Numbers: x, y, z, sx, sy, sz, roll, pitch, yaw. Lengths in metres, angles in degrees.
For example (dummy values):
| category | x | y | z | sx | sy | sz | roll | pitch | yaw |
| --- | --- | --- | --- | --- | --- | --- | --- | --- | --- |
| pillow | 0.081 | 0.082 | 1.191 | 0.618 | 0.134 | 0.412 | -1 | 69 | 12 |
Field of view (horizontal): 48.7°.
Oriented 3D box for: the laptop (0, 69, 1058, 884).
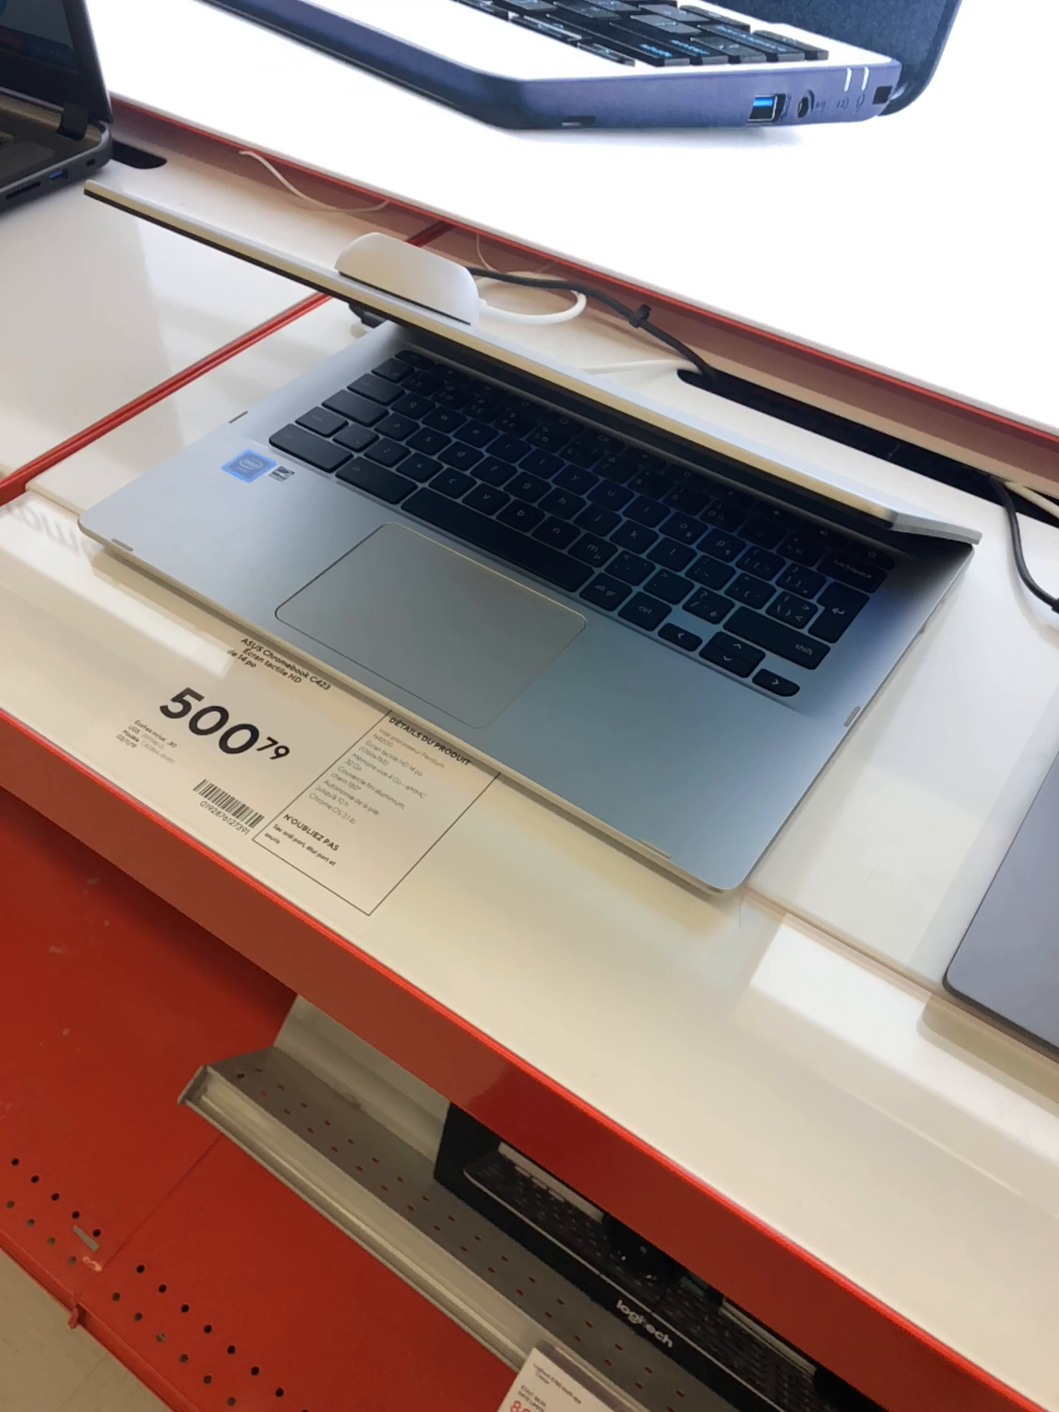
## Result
| category | x | y | z | sx | sy | sz | roll | pitch | yaw |
| --- | --- | --- | --- | --- | --- | --- | --- | --- | --- |
| laptop | 0.001 | -0.115 | 0.458 | 0.312 | 0.119 | 0.213 | 28 | 53 | 21 |
